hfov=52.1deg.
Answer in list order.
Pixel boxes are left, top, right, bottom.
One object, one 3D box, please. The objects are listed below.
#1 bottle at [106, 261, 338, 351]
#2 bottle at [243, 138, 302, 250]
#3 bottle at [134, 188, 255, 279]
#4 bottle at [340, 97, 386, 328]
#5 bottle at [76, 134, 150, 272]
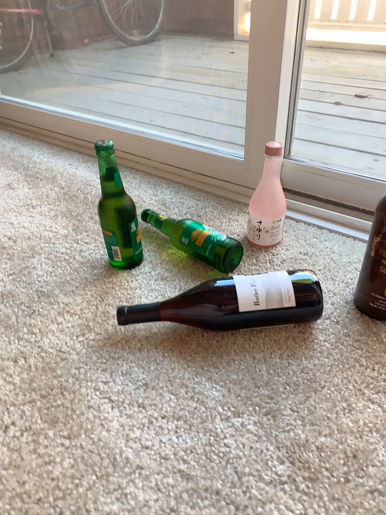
[{"bbox_3d":[0.036,0.063,0.533,0.290,0.060,0.070,-5,37,-5],"label":"bottle"},{"bbox_3d":[0.131,-0.107,0.682,0.070,0.169,0.081,-4,37,-2],"label":"bottle"},{"bbox_3d":[-0.004,-0.049,0.697,0.231,0.060,0.060,30,47,35],"label":"bottle"},{"bbox_3d":[0.276,-0.045,0.516,0.080,0.288,0.091,-4,37,-2],"label":"bottle"},{"bbox_3d":[-0.120,-0.083,0.634,0.080,0.199,0.081,-2,37,1],"label":"bottle"}]
